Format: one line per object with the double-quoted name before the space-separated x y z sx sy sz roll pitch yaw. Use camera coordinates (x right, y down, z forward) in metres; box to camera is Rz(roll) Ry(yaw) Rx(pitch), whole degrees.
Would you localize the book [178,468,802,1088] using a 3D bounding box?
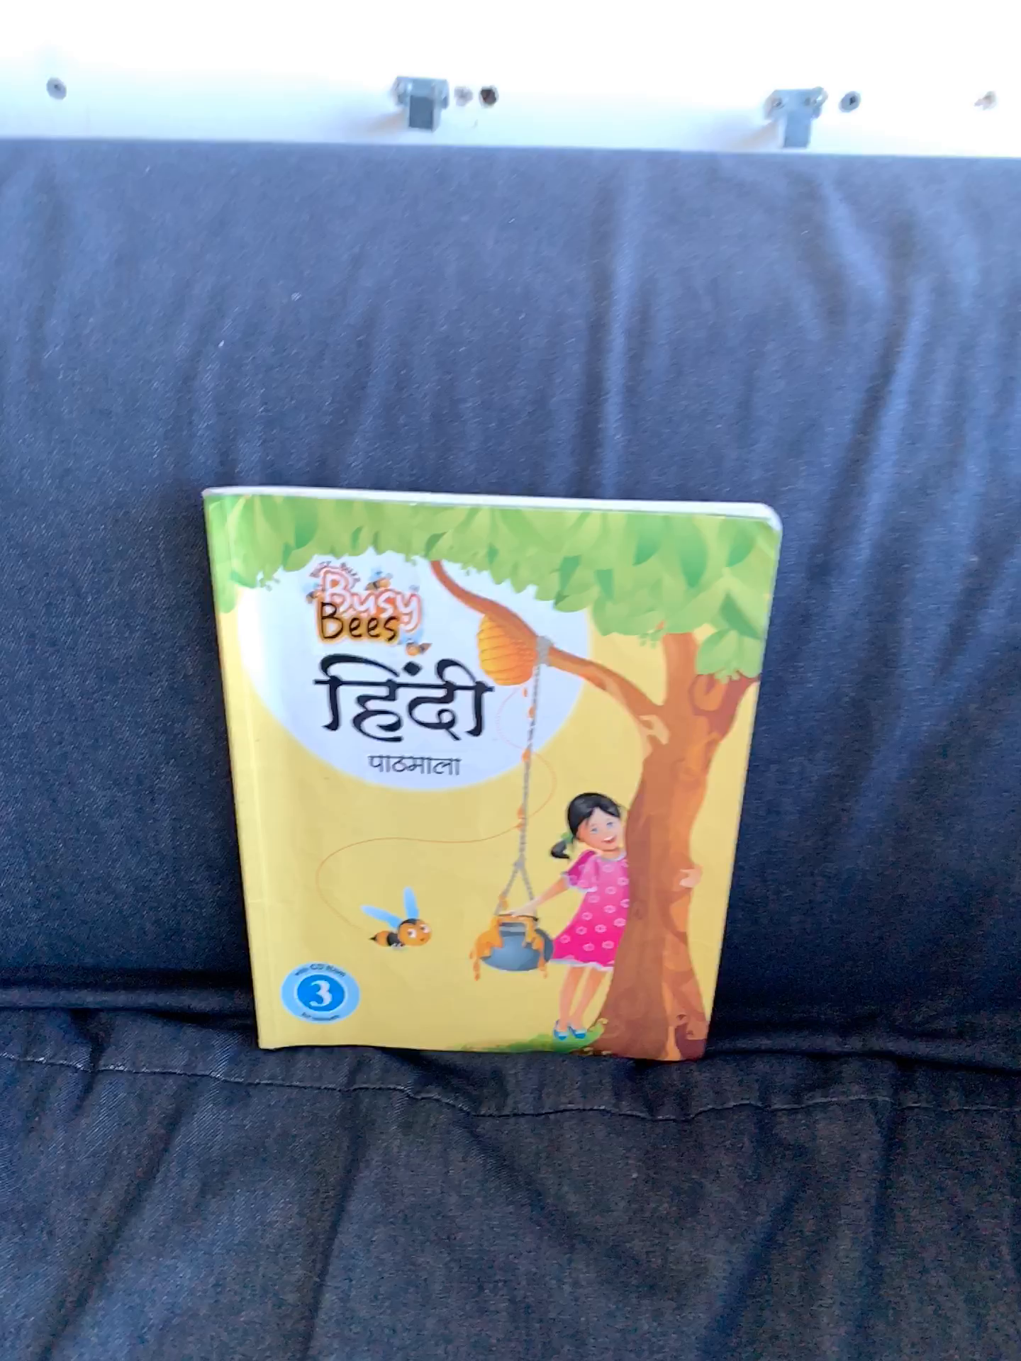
"book" -0.012 0.056 0.460 0.230 0.283 0.029 3 26 2
